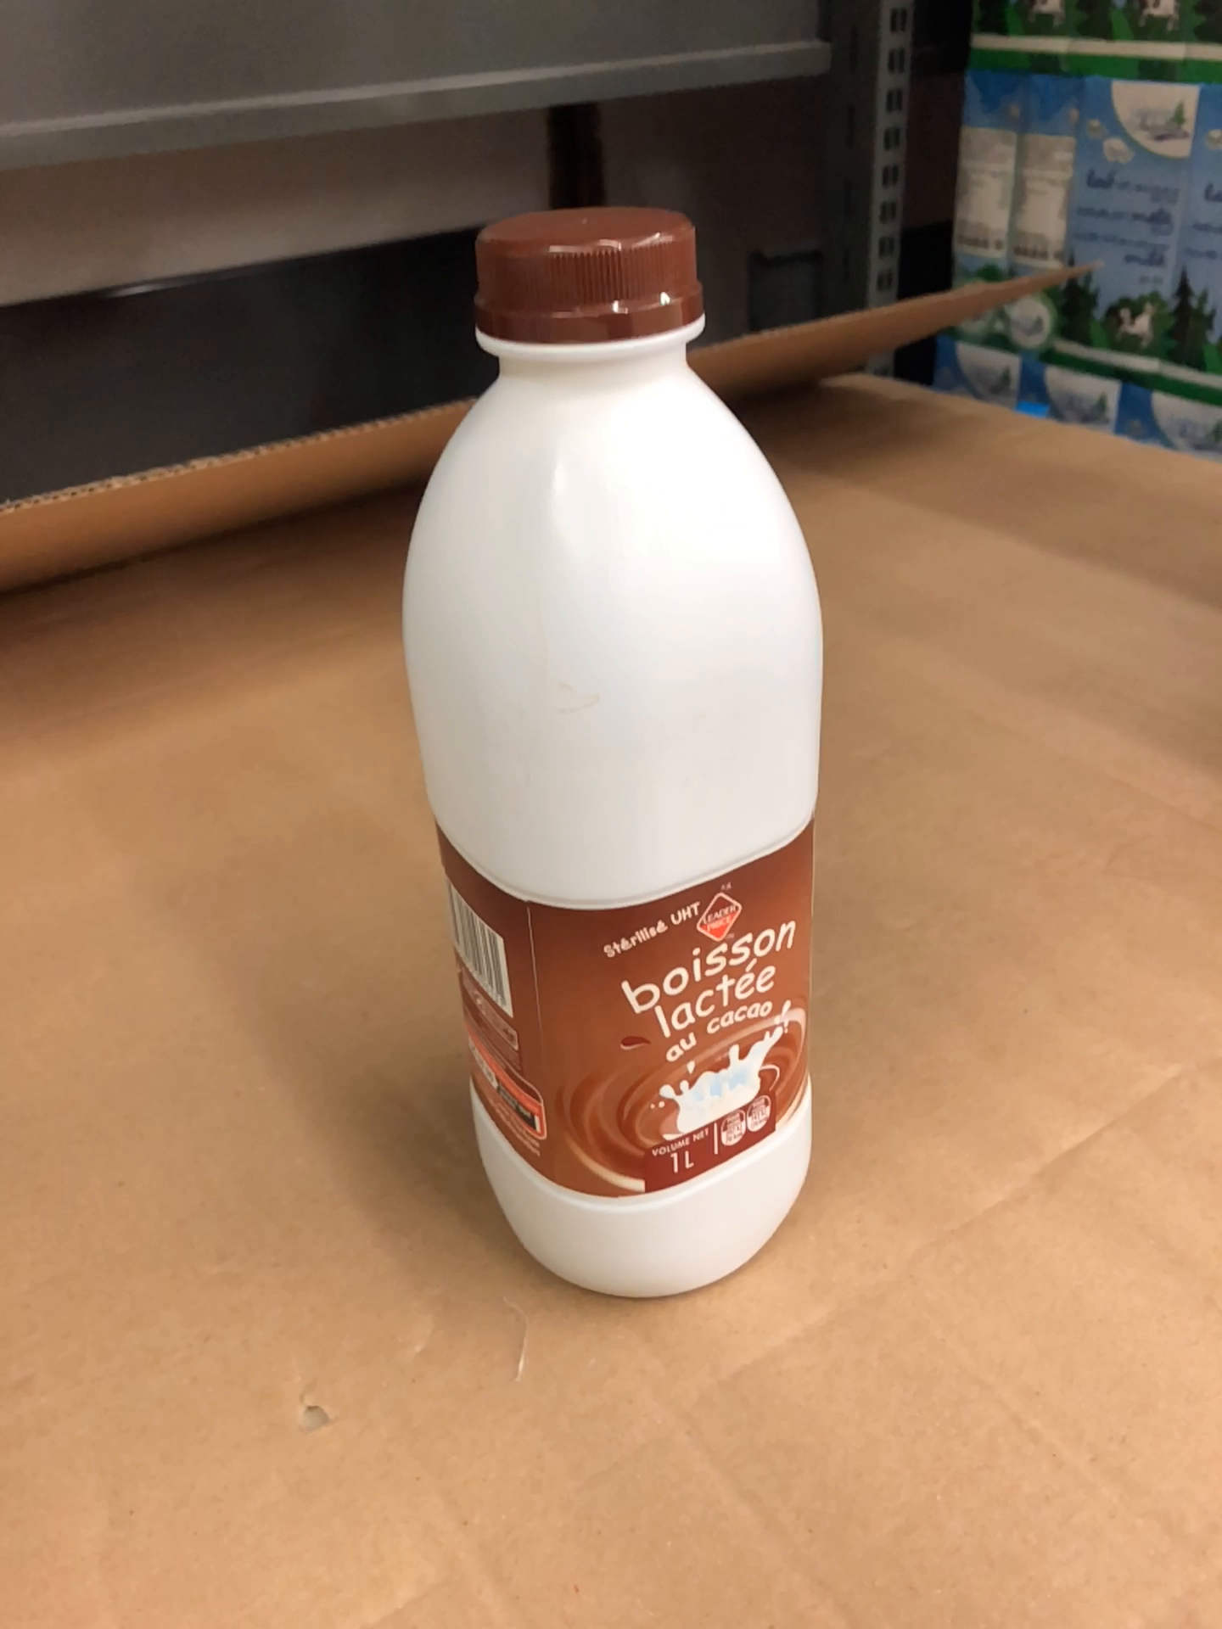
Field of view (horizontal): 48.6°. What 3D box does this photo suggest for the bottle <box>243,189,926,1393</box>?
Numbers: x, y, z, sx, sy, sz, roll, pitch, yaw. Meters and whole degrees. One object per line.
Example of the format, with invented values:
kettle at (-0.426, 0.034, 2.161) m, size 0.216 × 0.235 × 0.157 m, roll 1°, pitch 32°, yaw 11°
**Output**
bottle at (0.000, 0.001, 0.300) m, size 0.090 × 0.239 × 0.080 m, roll -23°, pitch 37°, yaw -28°
